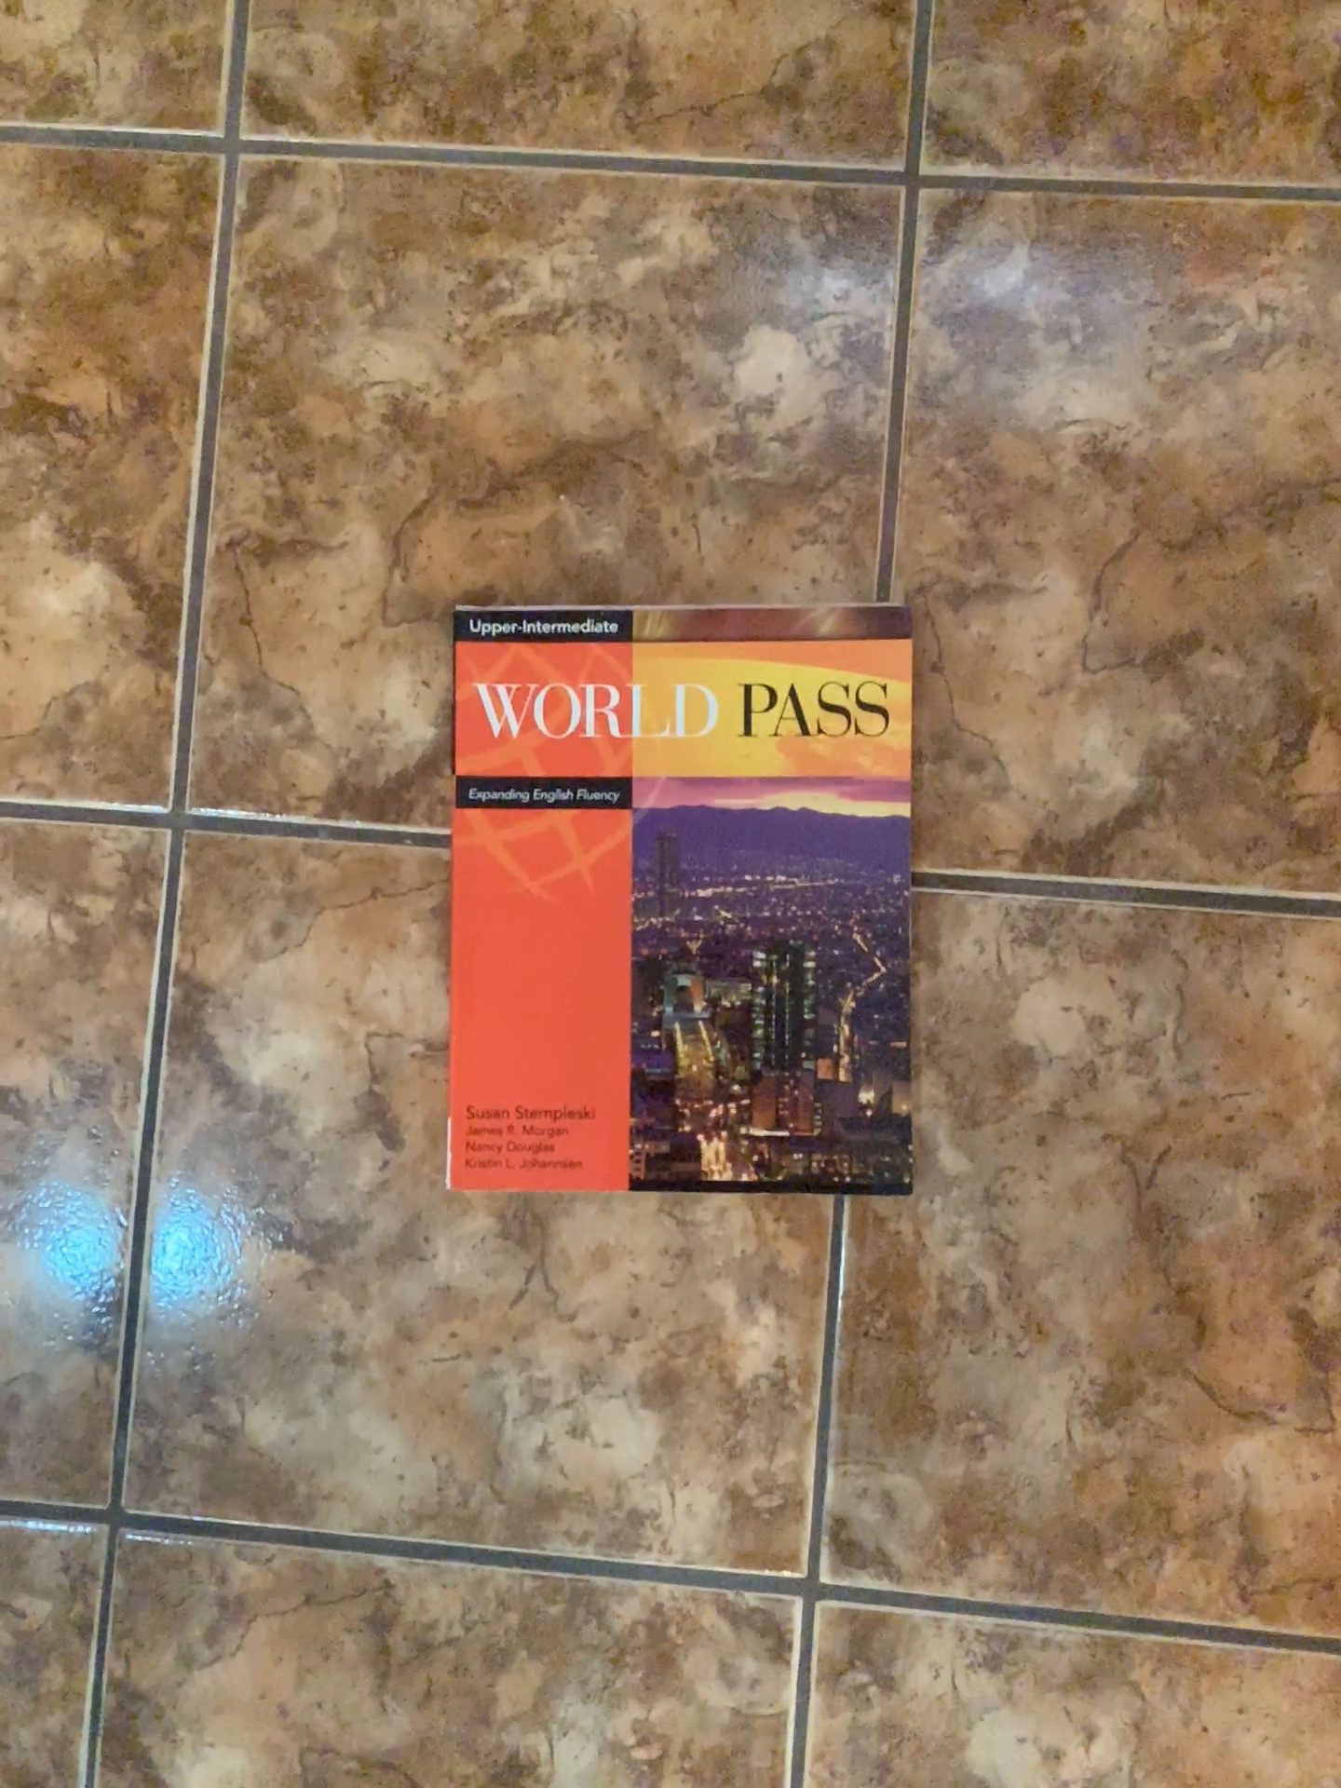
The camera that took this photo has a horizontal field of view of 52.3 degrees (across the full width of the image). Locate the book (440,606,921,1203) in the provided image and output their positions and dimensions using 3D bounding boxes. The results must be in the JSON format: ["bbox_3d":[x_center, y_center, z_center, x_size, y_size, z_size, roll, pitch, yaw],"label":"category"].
[{"bbox_3d":[0.004,0.004,0.634,0.219,0.016,0.271,0,87,3],"label":"book"}]
